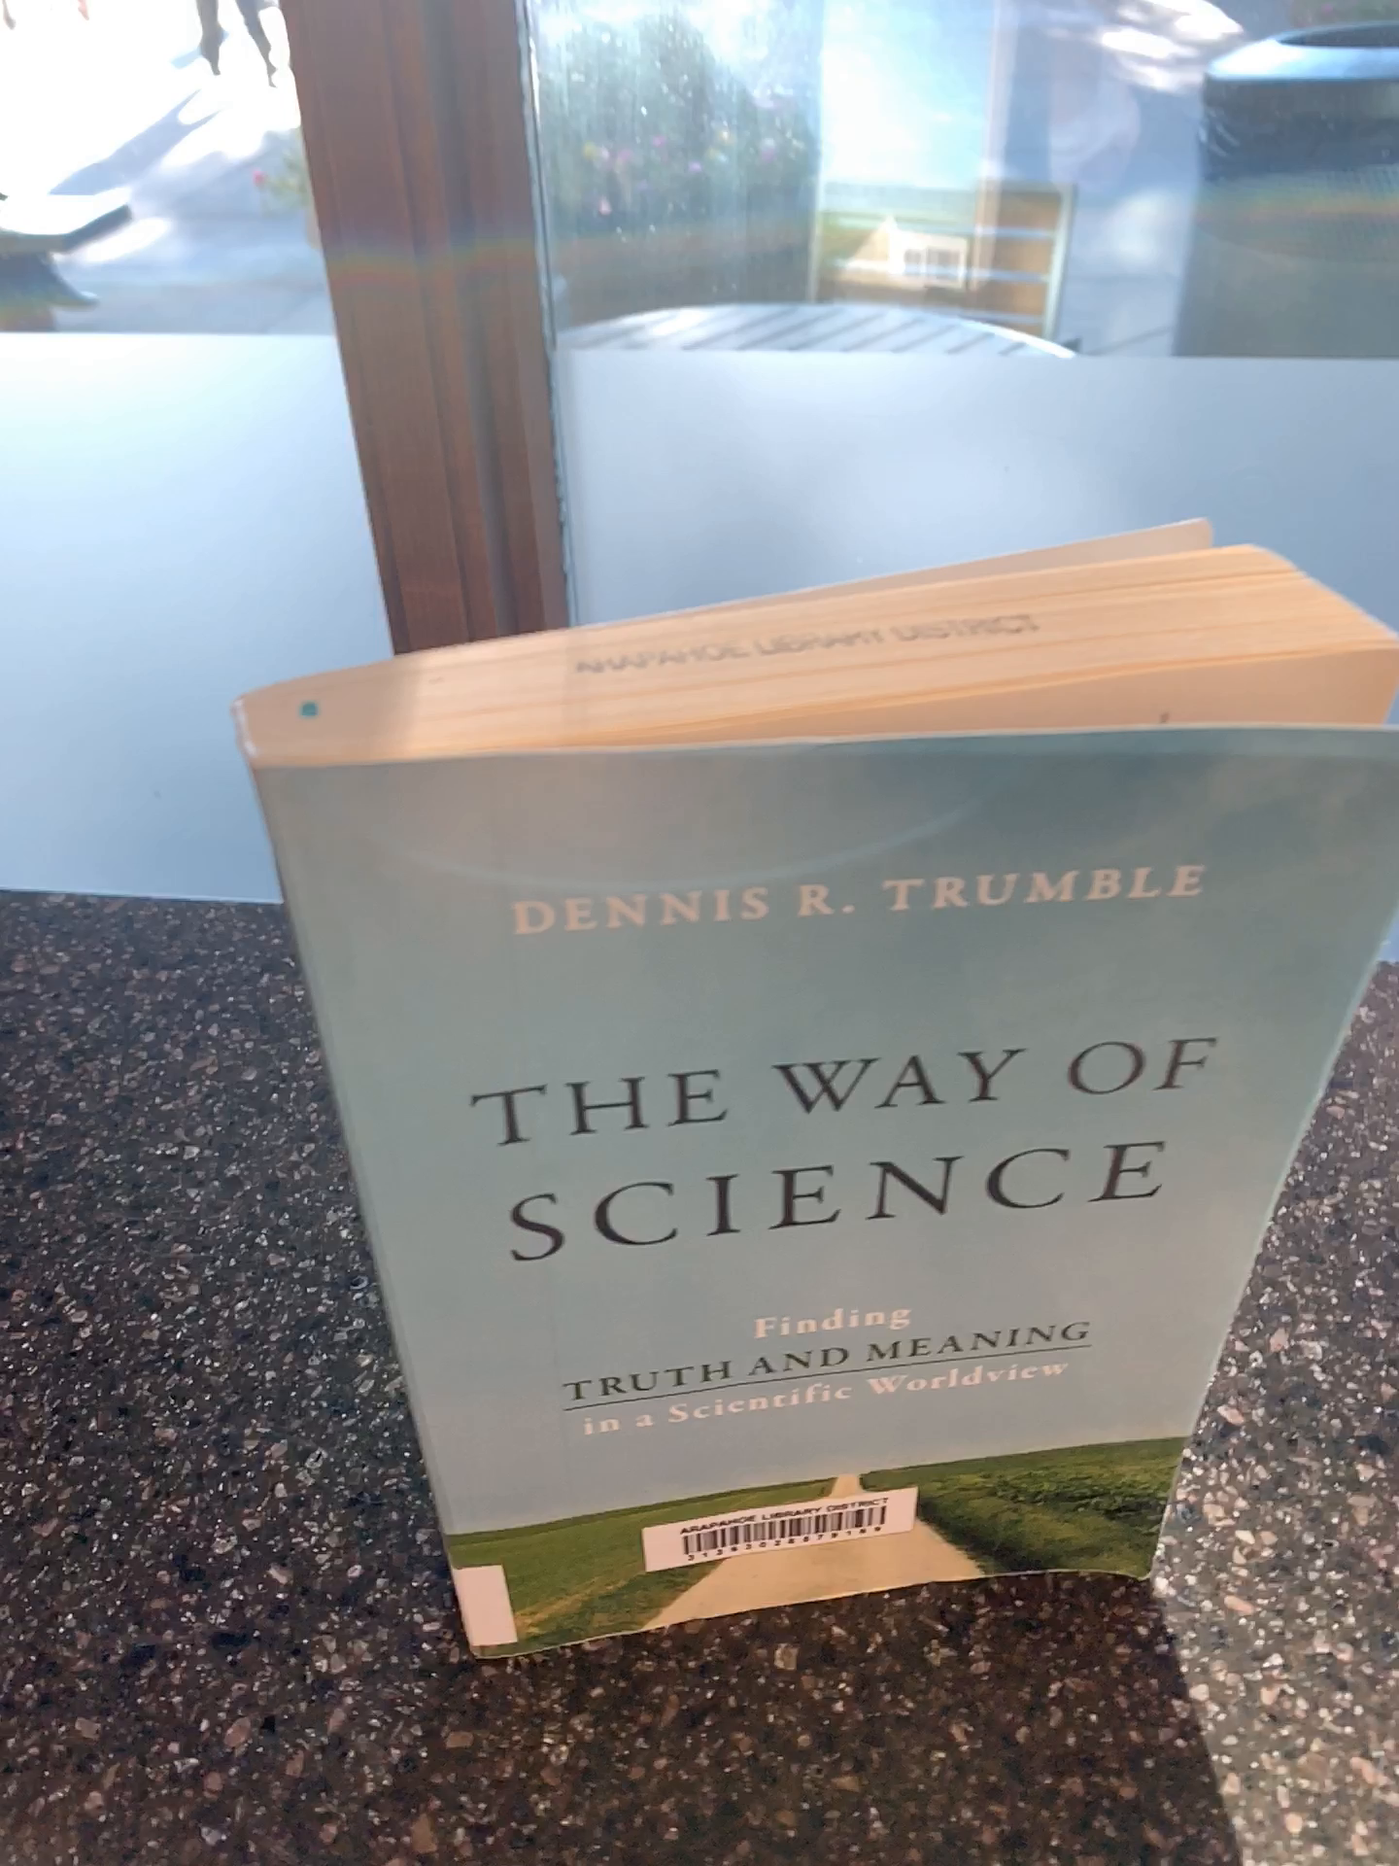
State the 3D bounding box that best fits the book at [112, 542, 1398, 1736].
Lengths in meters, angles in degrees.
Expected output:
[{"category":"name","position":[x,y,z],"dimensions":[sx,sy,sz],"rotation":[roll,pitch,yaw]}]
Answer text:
[{"category":"book","position":[0.020,0.053,0.246],"dimensions":[0.167,0.219,0.040],"rotation":[-6,38,-5]}]
